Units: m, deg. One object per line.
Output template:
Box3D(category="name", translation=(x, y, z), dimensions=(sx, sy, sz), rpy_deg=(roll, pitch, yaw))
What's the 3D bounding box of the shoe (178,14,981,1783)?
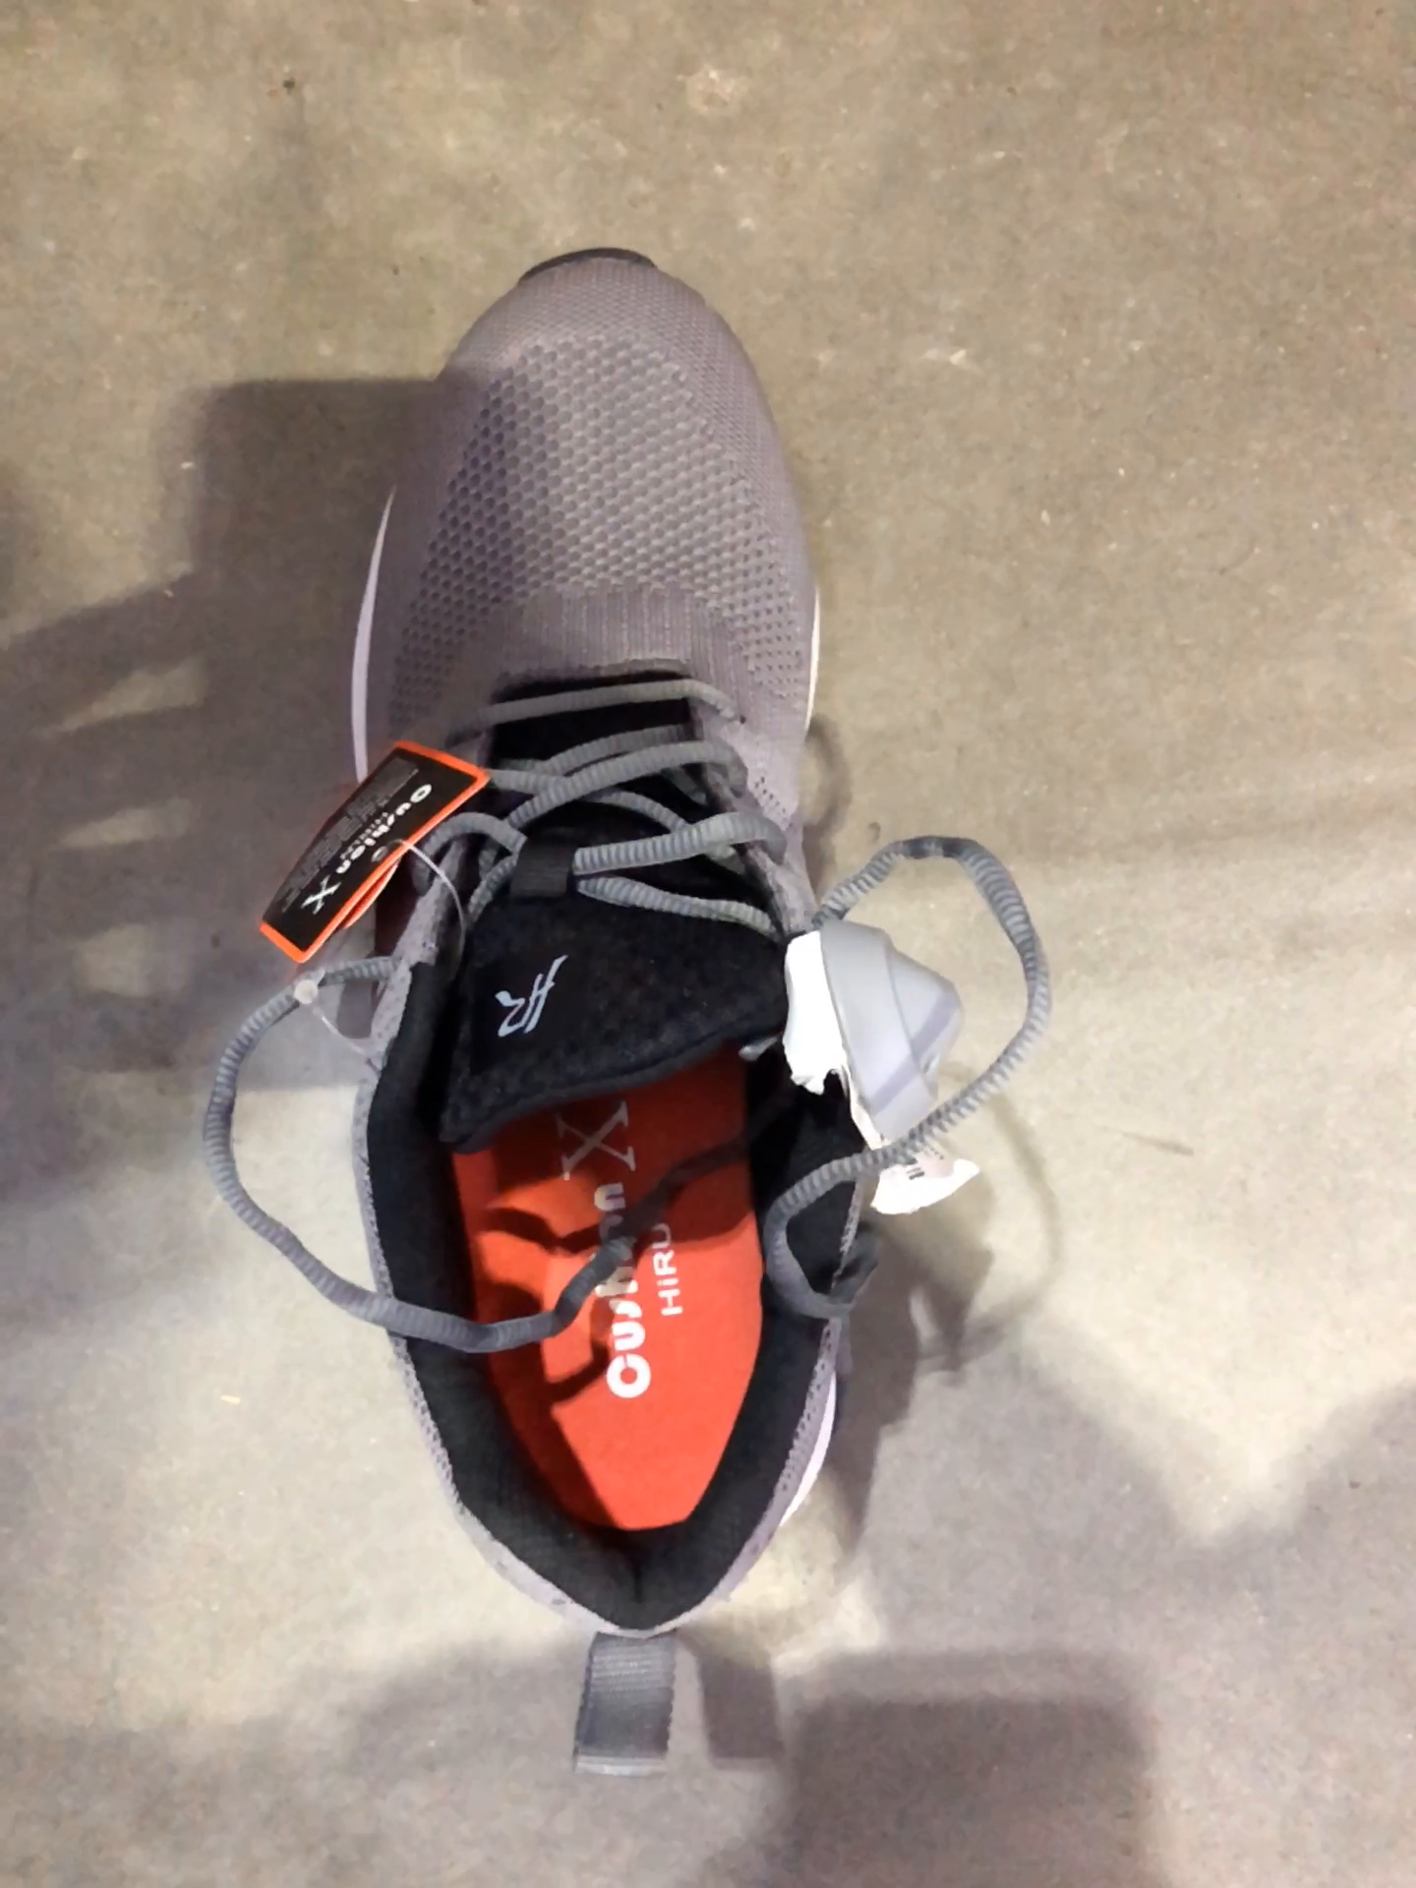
Box3D(category="shoe", translation=(-0.027, -0.012, 0.343), dimensions=(0.110, 0.100, 0.320), rpy_deg=(-8, 85, 0))
